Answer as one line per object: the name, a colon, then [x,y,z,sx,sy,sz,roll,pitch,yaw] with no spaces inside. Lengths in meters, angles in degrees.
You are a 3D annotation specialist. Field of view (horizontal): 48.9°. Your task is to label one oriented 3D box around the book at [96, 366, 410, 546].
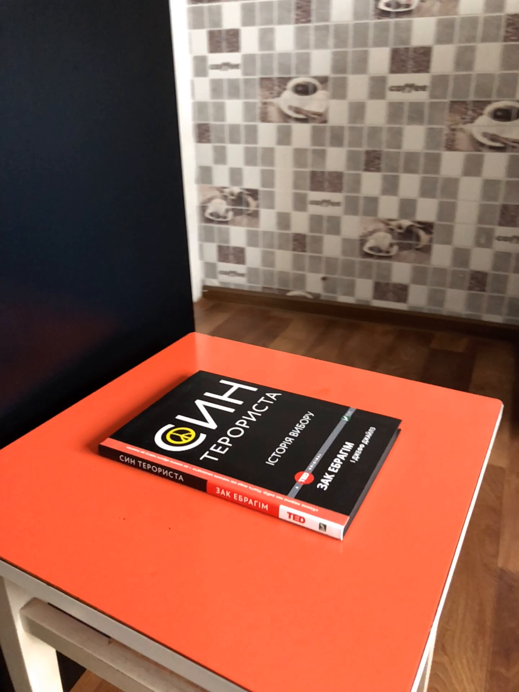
book: [-0.001,0.073,0.460,0.205,0.013,0.150,12,27,25]
